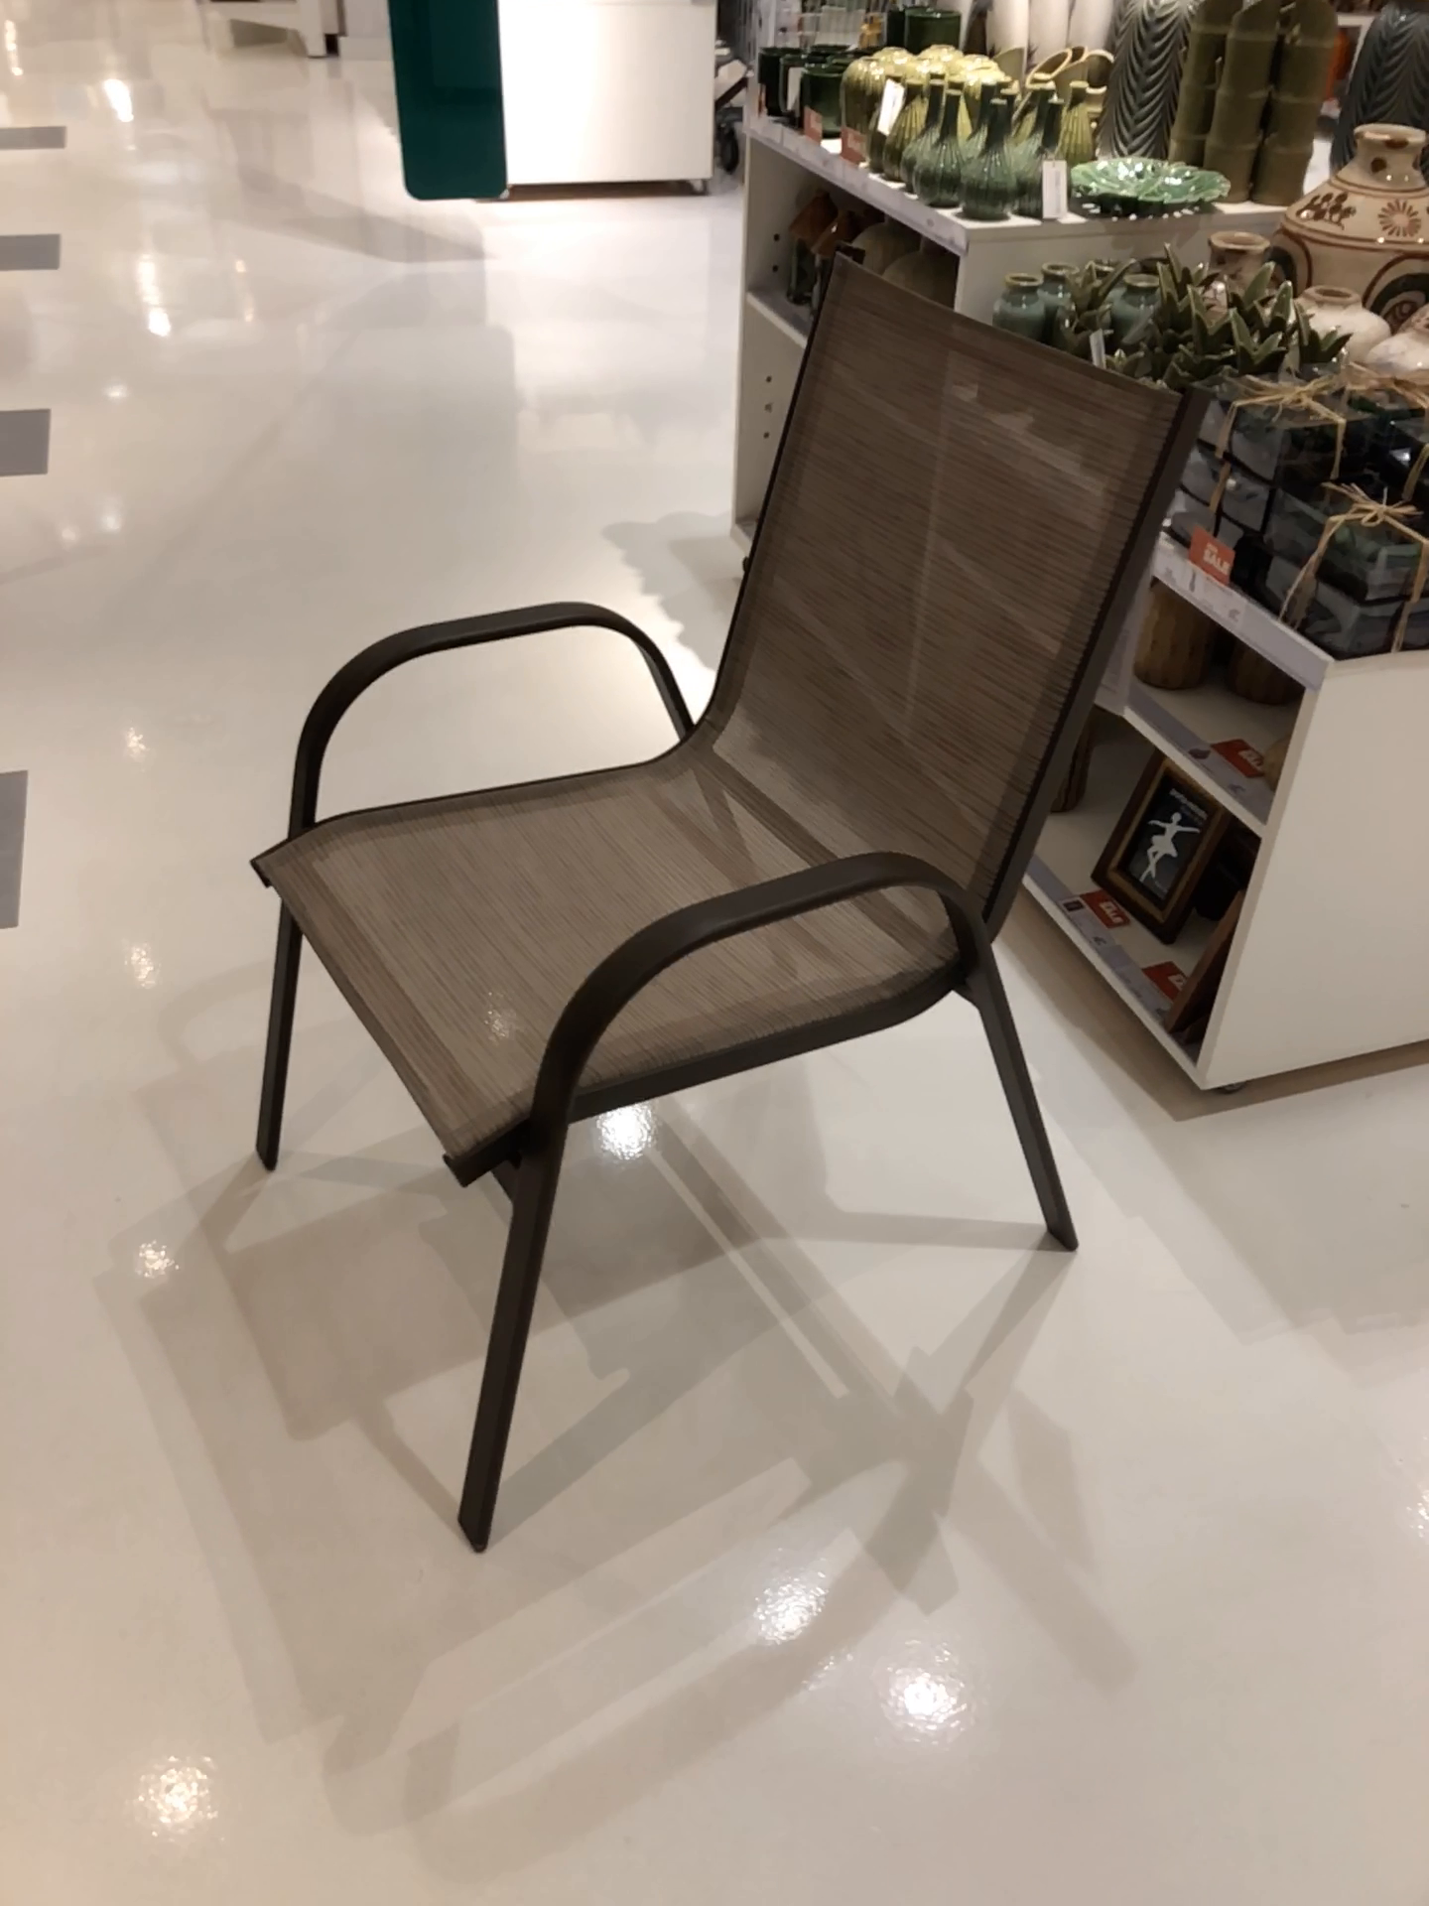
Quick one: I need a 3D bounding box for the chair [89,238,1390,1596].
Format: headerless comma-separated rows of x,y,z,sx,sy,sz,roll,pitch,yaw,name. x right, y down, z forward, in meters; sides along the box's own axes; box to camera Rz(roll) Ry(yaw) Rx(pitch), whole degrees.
-0.015,-0.082,1.336,0.702,0.793,0.604,-19,42,-26,chair
